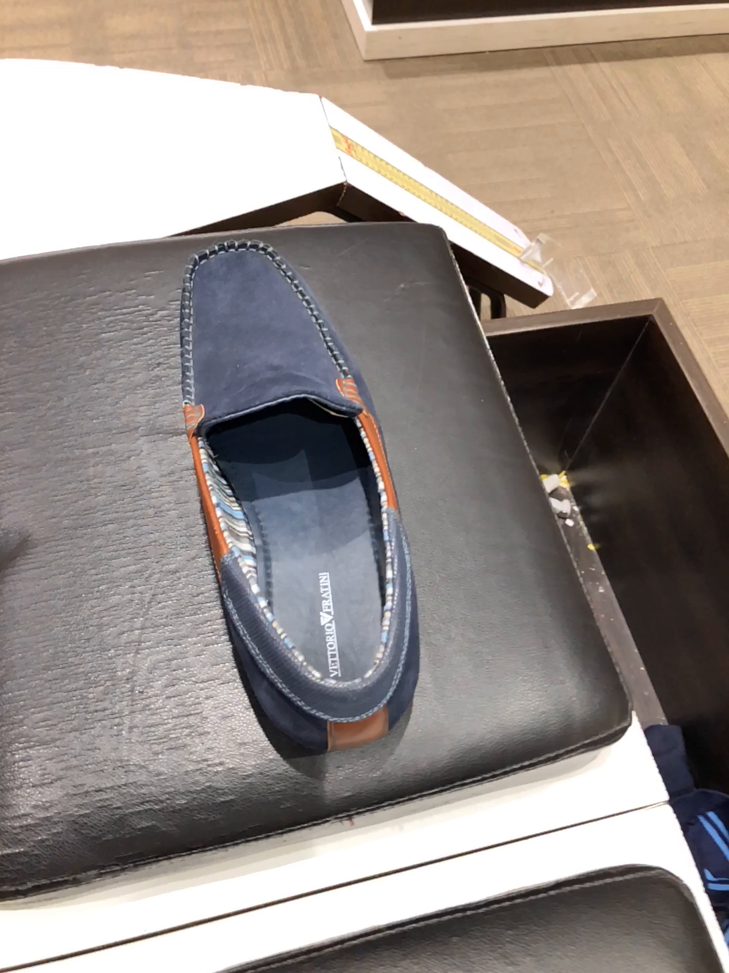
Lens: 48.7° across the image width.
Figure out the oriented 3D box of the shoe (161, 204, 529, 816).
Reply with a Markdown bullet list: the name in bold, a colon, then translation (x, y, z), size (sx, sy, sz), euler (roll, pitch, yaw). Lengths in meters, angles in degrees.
- **shoe**: translation (-0.026, -0.001, 0.419), size (0.110, 0.099, 0.292), euler (-10, 61, -11)
